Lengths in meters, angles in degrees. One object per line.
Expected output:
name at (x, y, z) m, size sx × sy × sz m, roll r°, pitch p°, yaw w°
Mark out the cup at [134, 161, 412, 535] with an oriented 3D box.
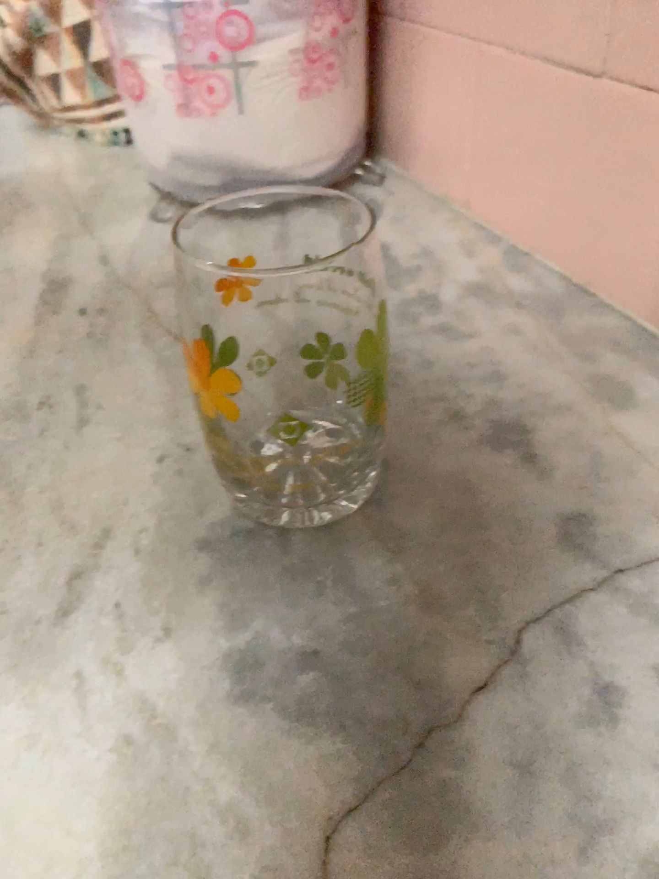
cup at (-0.010, -0.029, 0.230) m, size 0.070 × 0.100 × 0.070 m, roll -3°, pitch 40°, yaw 2°
